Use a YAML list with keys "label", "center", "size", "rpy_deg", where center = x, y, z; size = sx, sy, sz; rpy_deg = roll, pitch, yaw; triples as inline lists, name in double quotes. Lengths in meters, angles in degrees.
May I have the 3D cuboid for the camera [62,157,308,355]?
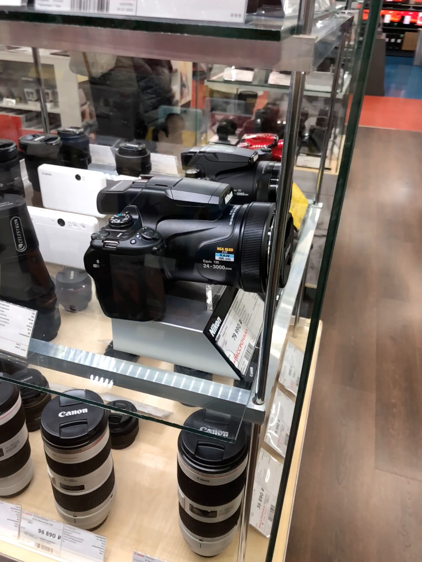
- label: "camera"
  center: [-0.017, -0.039, 0.489]
  size: [0.200, 0.113, 0.161]
  rpy_deg: [11, 32, 14]
